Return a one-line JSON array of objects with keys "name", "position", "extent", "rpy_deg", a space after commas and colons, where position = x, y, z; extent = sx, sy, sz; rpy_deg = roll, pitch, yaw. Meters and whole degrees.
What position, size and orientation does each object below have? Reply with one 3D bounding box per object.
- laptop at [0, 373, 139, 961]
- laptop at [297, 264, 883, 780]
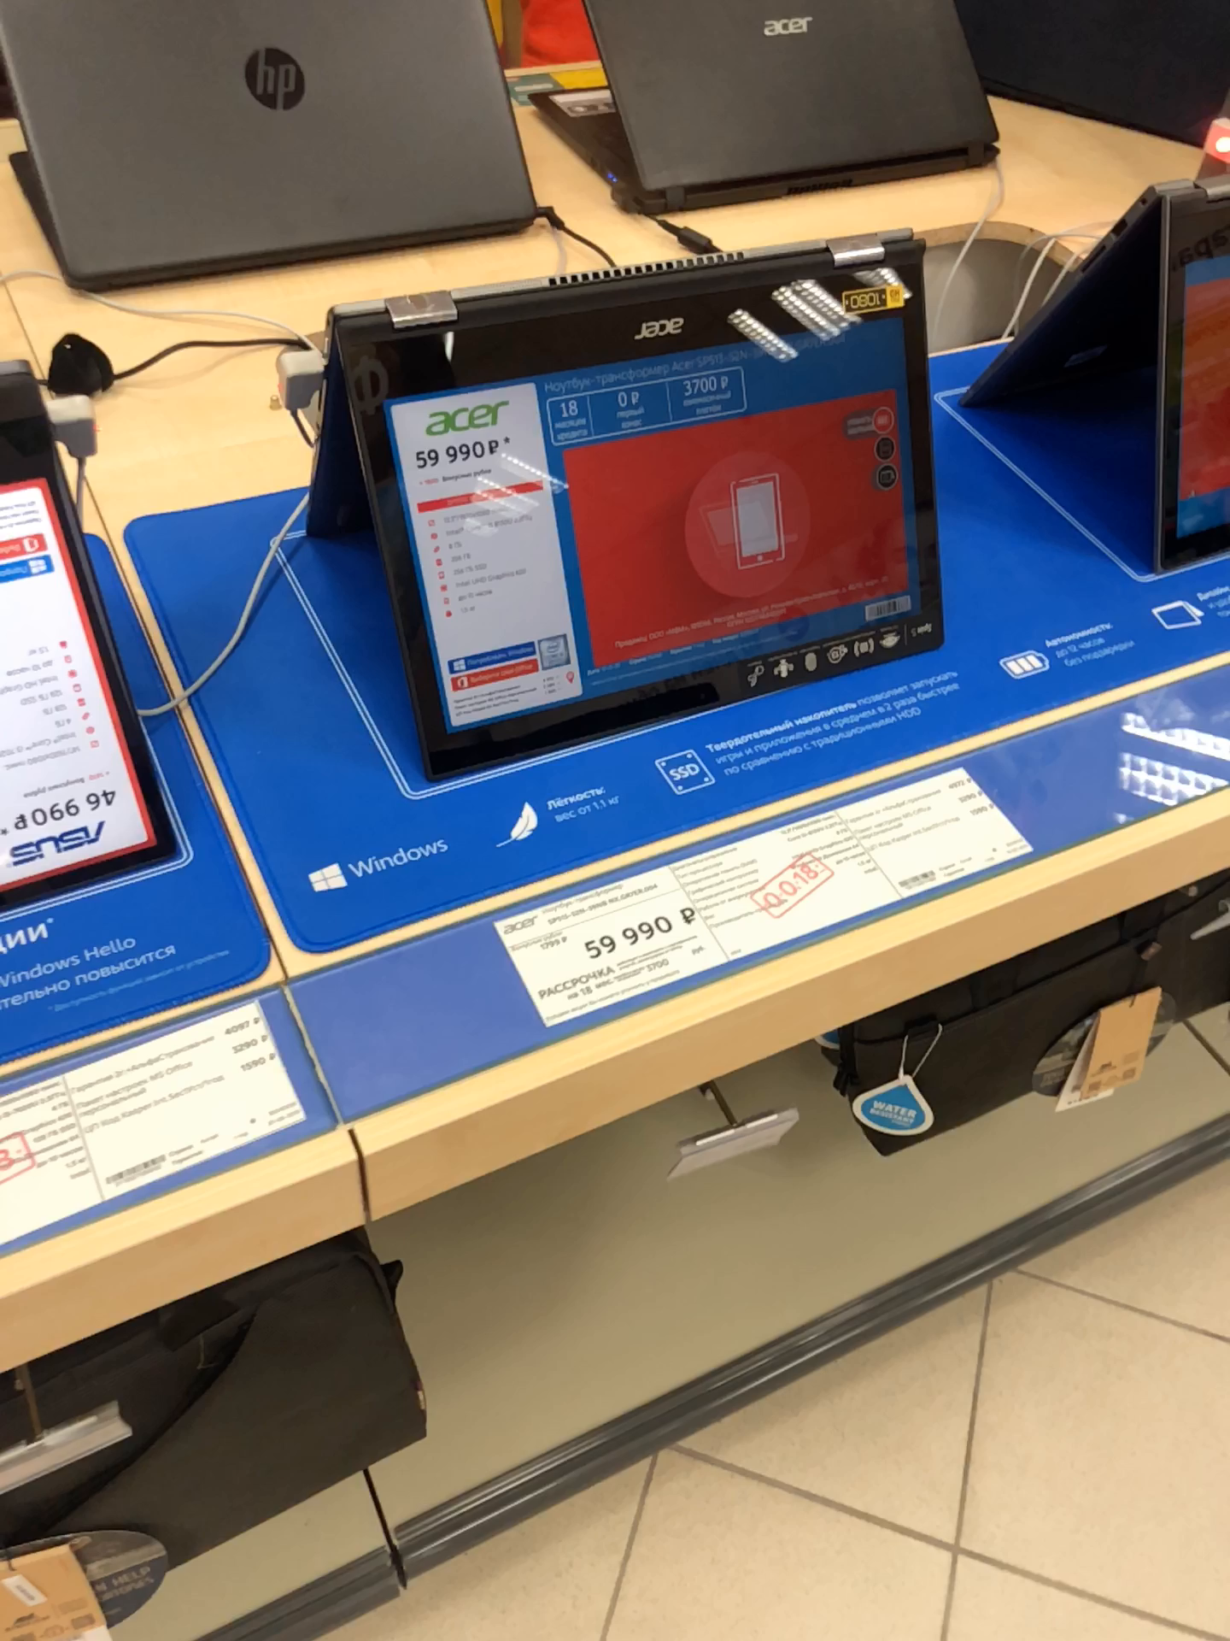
[{"name": "laptop", "position": [-0.394, -0.052, 0.655], "extent": [0.269, 0.179, 0.175], "rpy_deg": [-17, 21, -24]}, {"name": "laptop", "position": [-0.028, -0.169, 0.845], "extent": [0.308, 0.159, 0.201], "rpy_deg": [-18, 15, -28]}]
